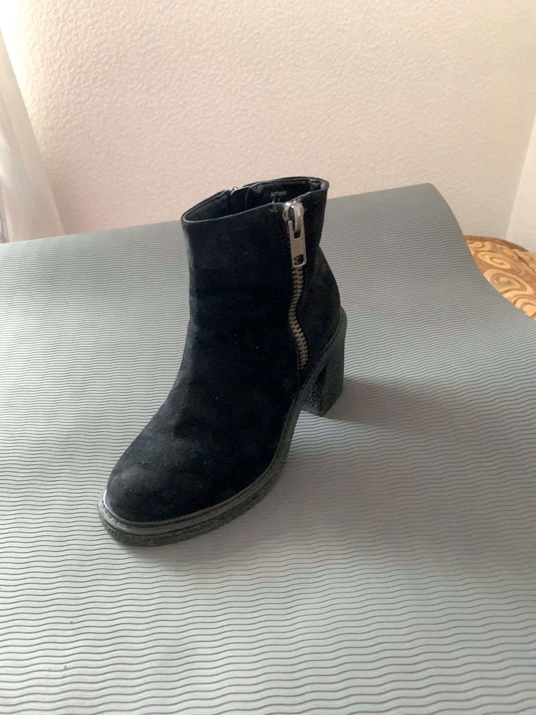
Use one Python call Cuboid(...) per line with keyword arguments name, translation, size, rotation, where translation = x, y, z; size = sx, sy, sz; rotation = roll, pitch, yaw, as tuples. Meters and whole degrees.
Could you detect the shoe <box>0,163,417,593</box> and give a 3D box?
Cuboid(name="shoe", translation=(-0.020, -0.006, 0.370), size=(0.099, 0.179, 0.241), rotation=(28, 43, 34))
